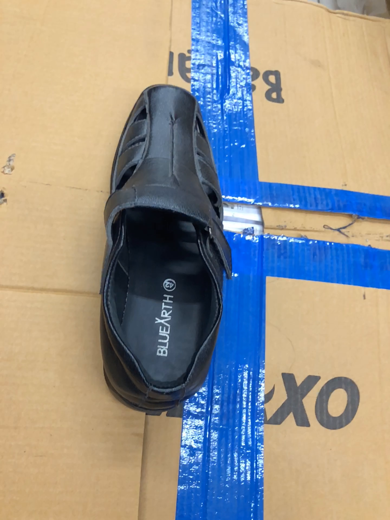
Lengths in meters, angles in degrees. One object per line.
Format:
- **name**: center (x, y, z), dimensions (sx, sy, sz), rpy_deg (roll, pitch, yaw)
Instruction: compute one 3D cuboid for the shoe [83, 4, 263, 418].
- **shoe**: center (-0.018, -0.039, 0.339), dimensions (0.101, 0.097, 0.305), rpy_deg (5, 68, -10)
